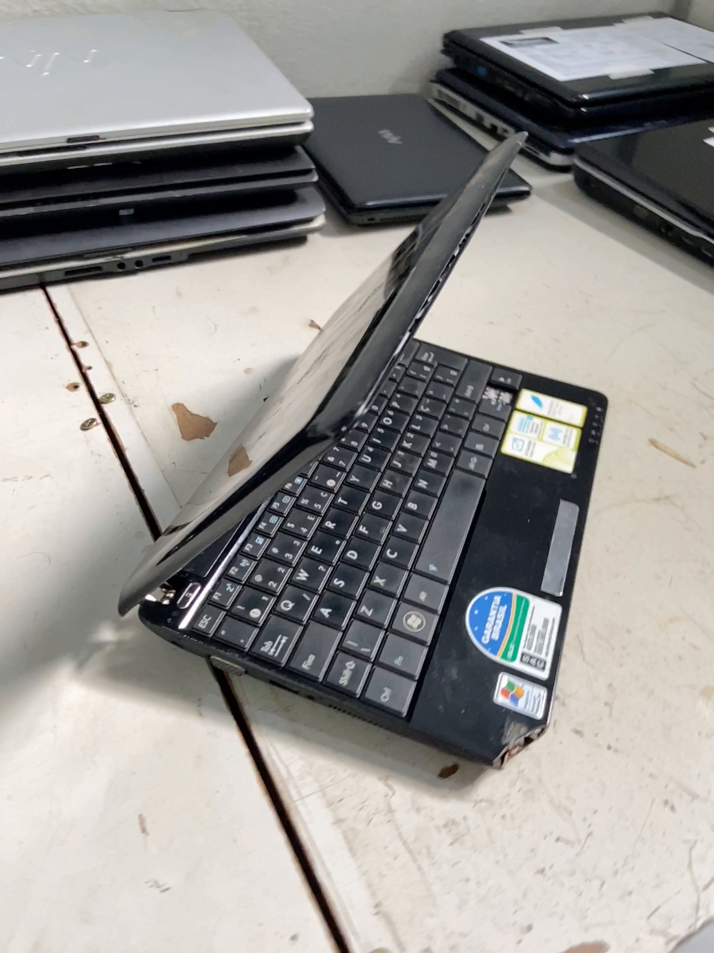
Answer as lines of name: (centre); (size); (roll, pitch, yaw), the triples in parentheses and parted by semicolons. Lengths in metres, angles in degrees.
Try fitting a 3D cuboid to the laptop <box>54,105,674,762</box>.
laptop: (0.032, -0.047, 0.345); (0.167, 0.137, 0.263); (18, 44, 12)
